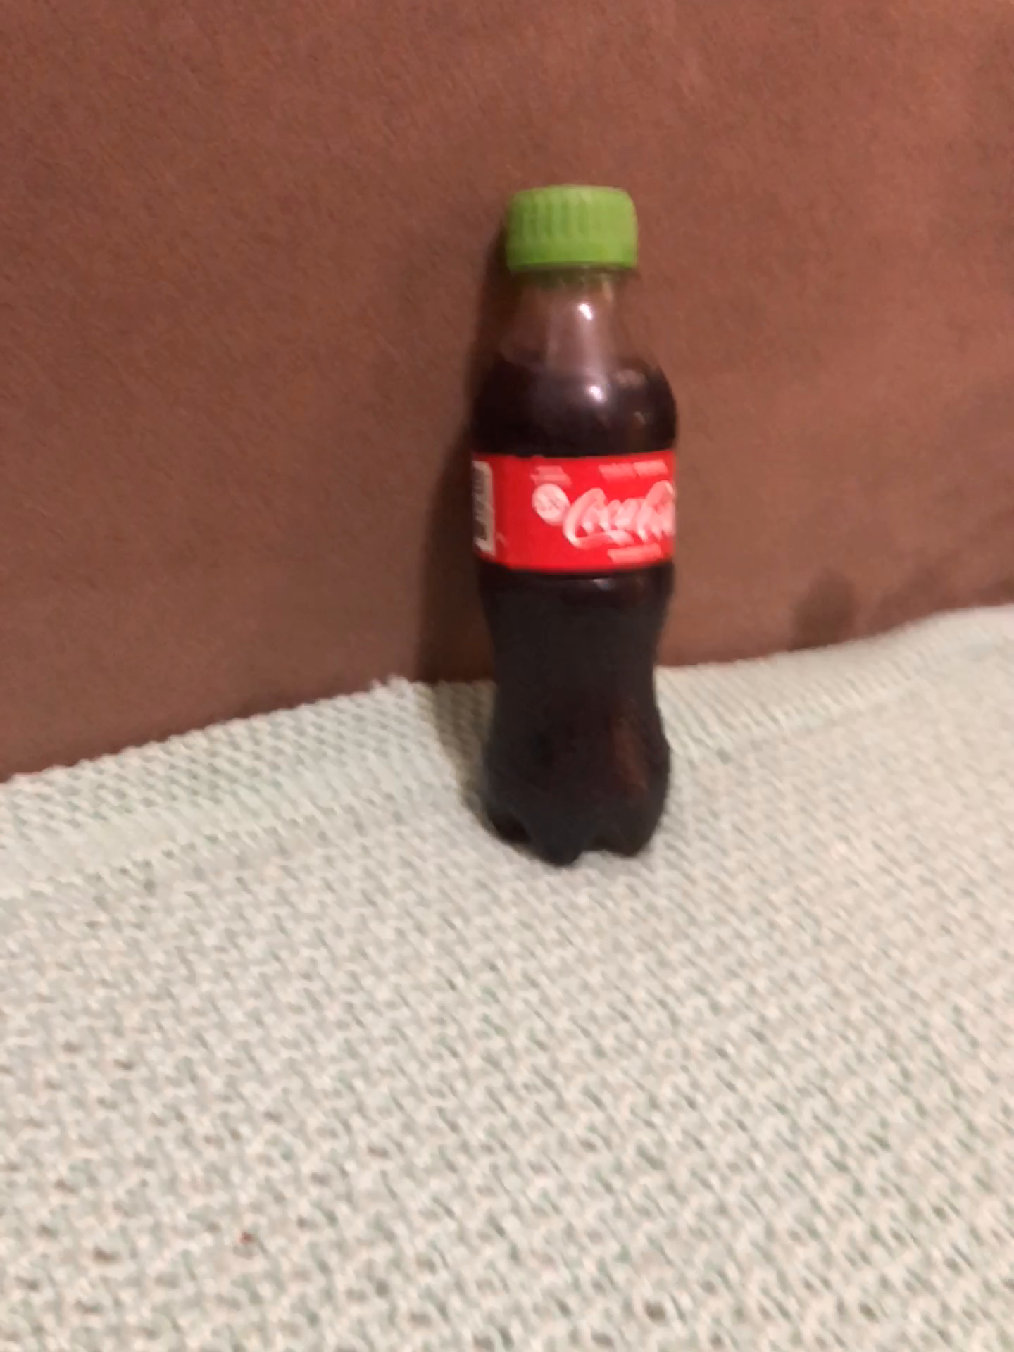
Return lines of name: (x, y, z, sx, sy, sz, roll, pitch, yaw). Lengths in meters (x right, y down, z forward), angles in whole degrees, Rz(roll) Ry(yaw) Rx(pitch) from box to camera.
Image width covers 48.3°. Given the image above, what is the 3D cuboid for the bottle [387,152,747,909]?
bottle: (0.013, -0.037, 0.292, 0.060, 0.169, 0.060, 0, 17, 0)
